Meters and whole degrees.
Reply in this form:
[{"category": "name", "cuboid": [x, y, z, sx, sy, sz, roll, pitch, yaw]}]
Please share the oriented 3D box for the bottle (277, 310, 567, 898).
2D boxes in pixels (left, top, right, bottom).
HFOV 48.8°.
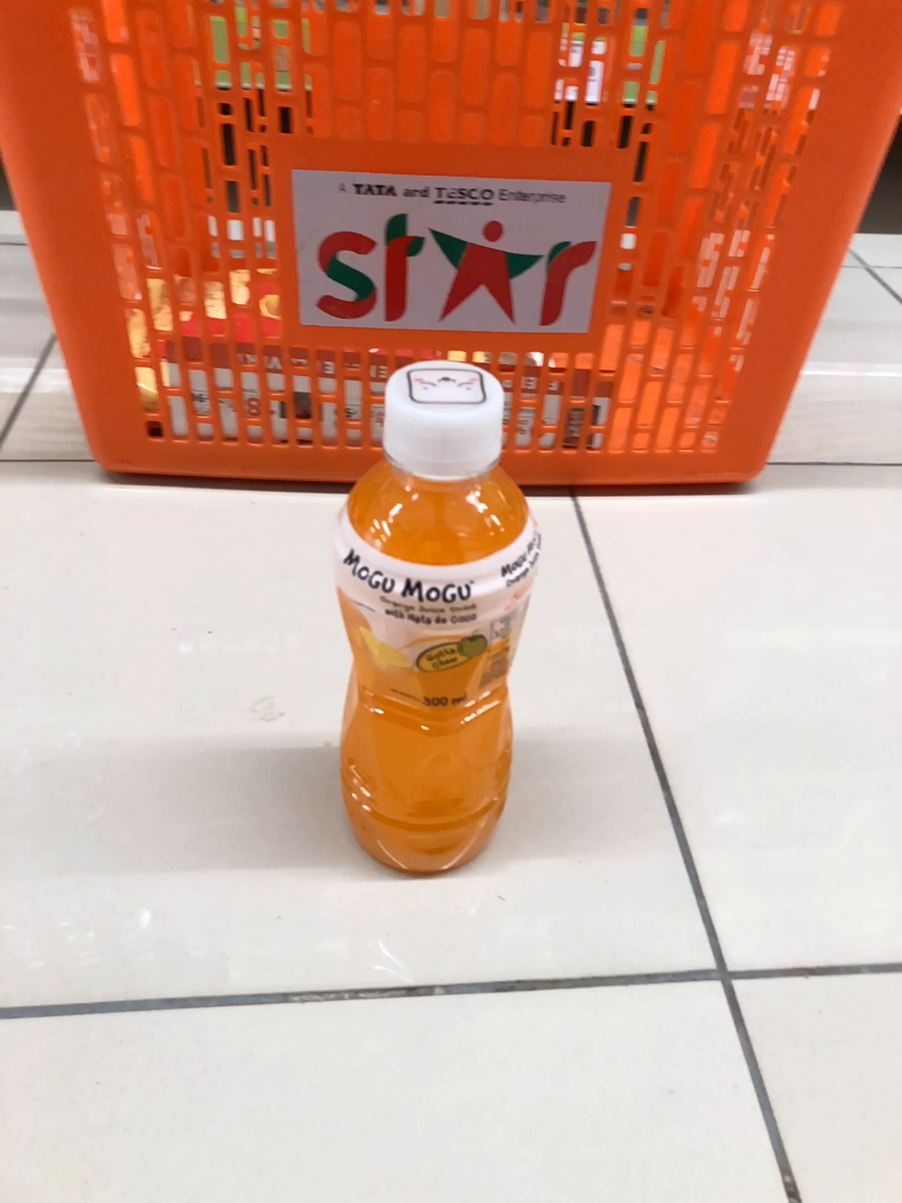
[{"category": "bottle", "cuboid": [-0.007, 0.008, 0.290, 0.060, 0.159, 0.066, 2, 40, -2]}]
